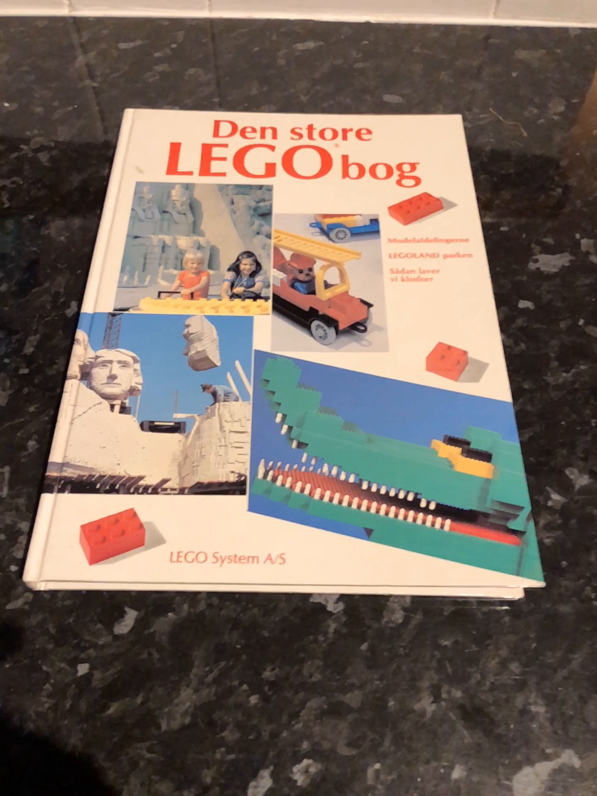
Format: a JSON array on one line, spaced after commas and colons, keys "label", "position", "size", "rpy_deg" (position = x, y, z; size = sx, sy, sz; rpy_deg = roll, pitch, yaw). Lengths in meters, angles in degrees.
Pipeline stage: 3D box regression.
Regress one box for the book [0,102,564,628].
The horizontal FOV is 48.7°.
[{"label": "book", "position": [-0.005, -0.040, 0.332], "size": [0.210, 0.030, 0.291], "rpy_deg": [1, 60, -1]}]
